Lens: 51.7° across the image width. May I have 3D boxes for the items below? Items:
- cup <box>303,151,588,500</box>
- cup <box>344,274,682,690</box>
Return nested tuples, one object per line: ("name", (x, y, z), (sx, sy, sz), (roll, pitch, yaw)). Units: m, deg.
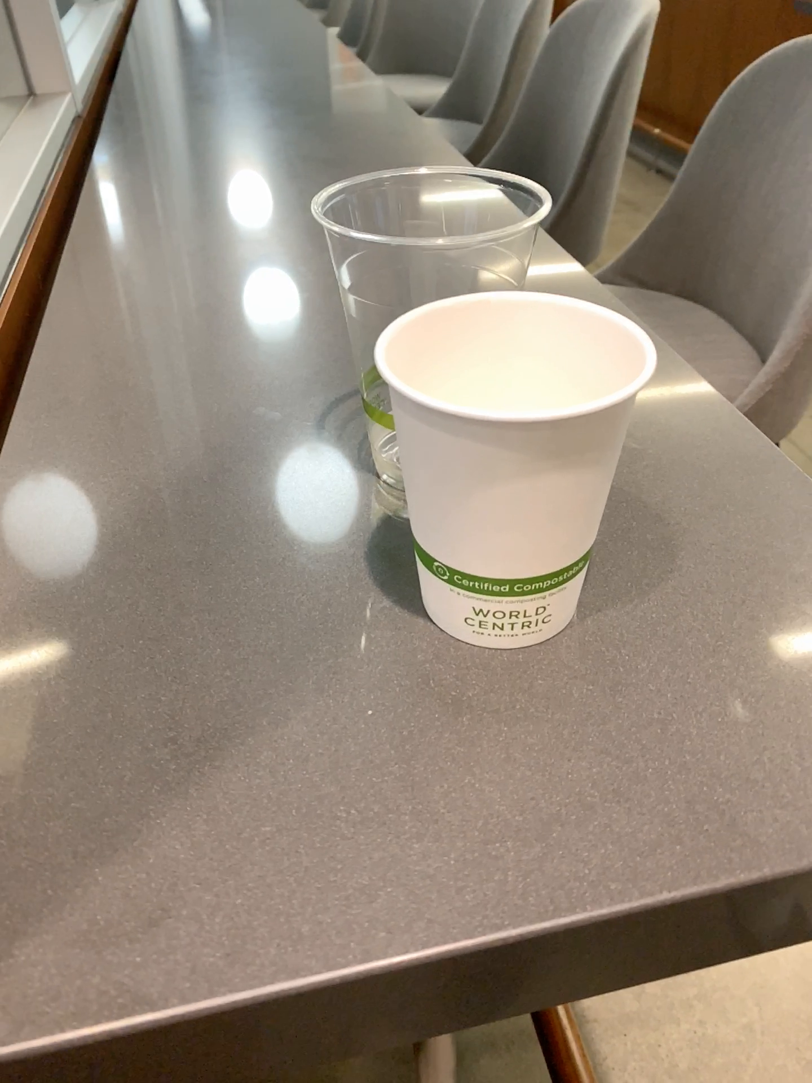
("cup", (0.016, -0.092, 0.362), (0.100, 0.119, 0.080), (-2, 38, 1))
("cup", (0.030, -0.021, 0.293), (0.090, 0.109, 0.091), (-2, 38, 2))
